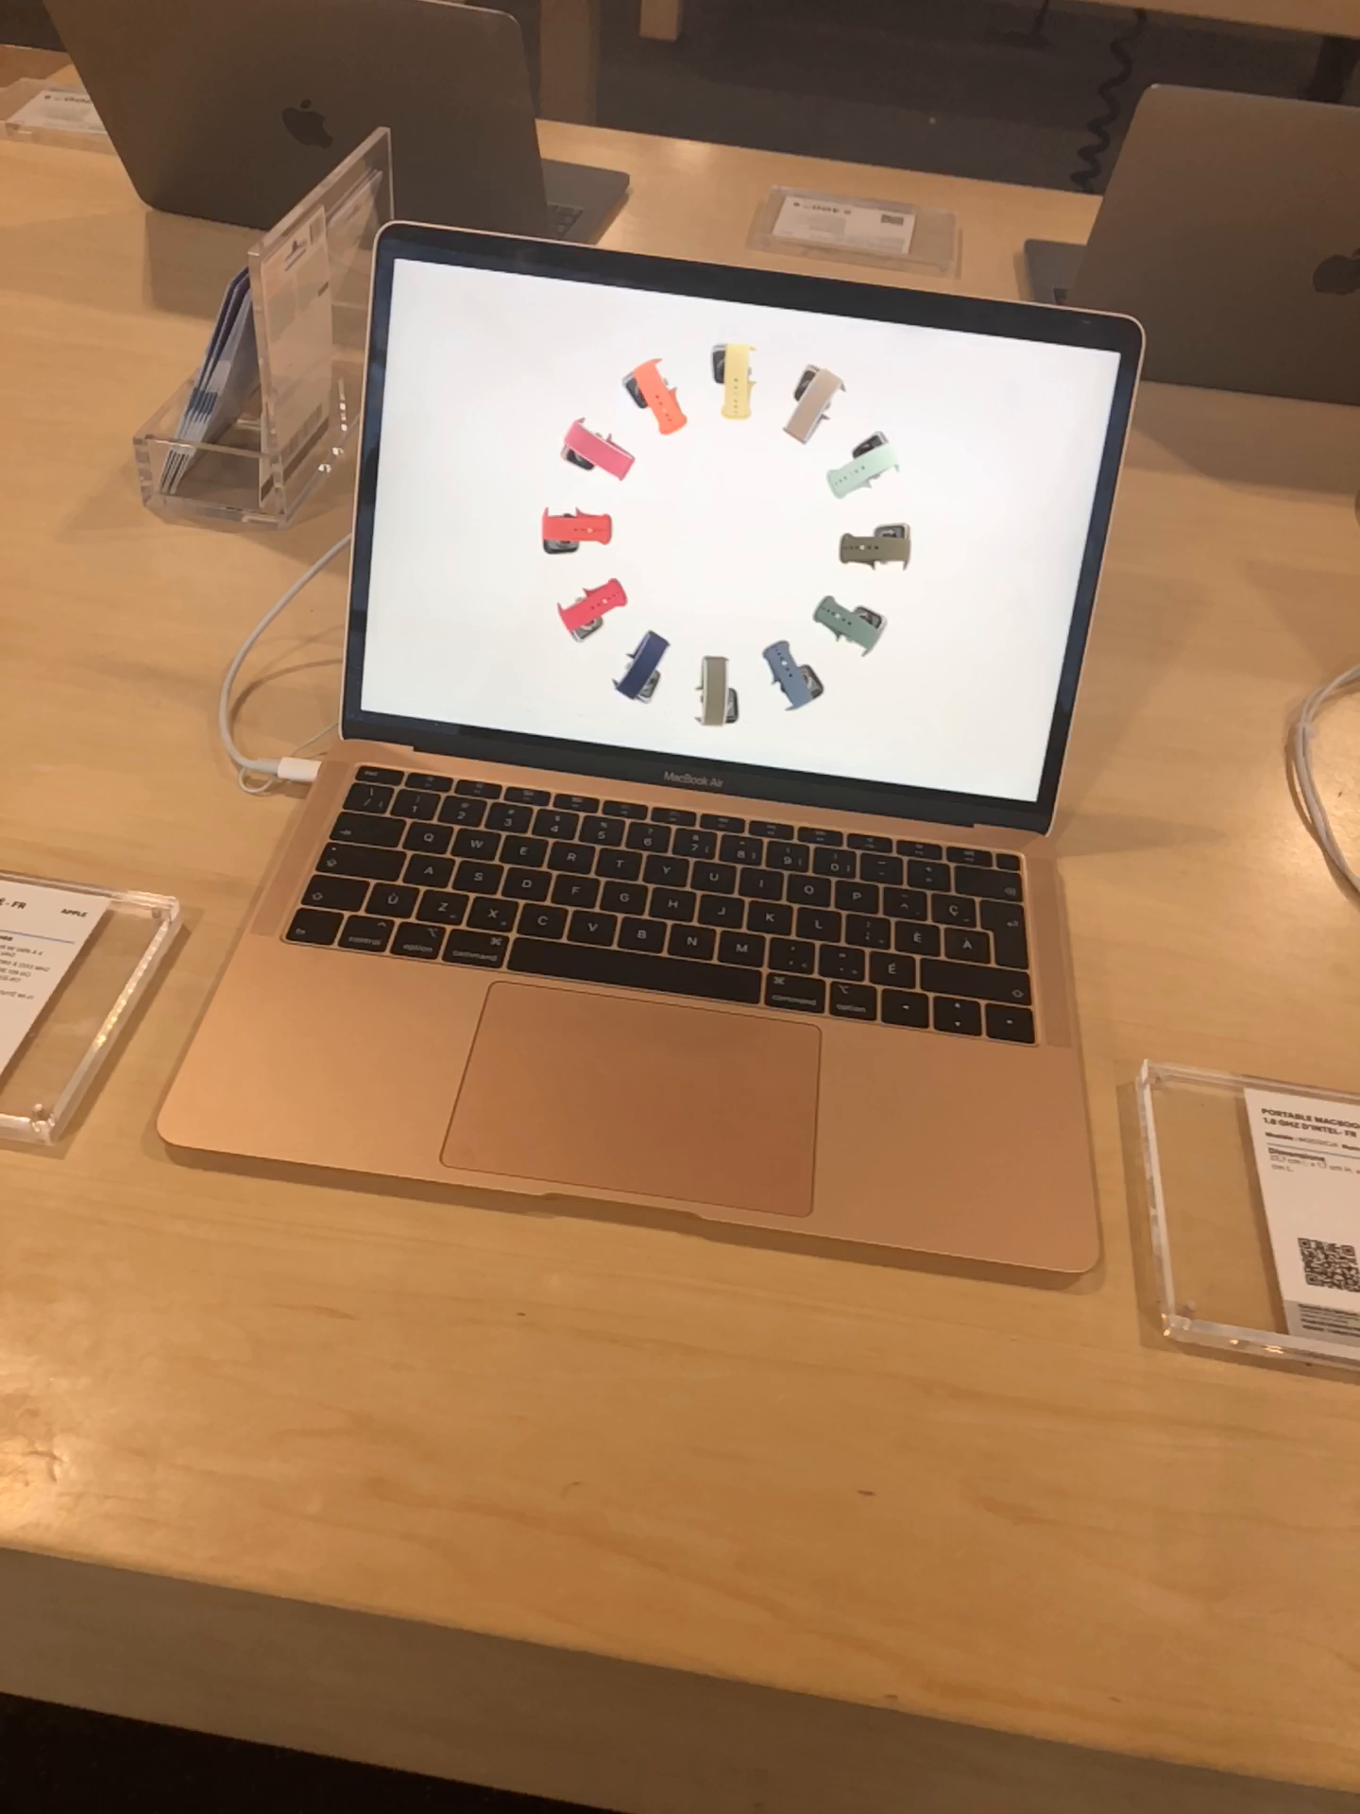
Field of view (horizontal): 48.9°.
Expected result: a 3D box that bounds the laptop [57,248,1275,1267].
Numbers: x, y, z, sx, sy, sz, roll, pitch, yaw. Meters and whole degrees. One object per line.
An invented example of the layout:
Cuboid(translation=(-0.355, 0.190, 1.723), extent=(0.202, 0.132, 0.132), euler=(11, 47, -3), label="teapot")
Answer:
Cuboid(translation=(0.005, -0.071, 0.518), extent=(0.289, 0.167, 0.299), euler=(9, 42, 1), label="laptop")
